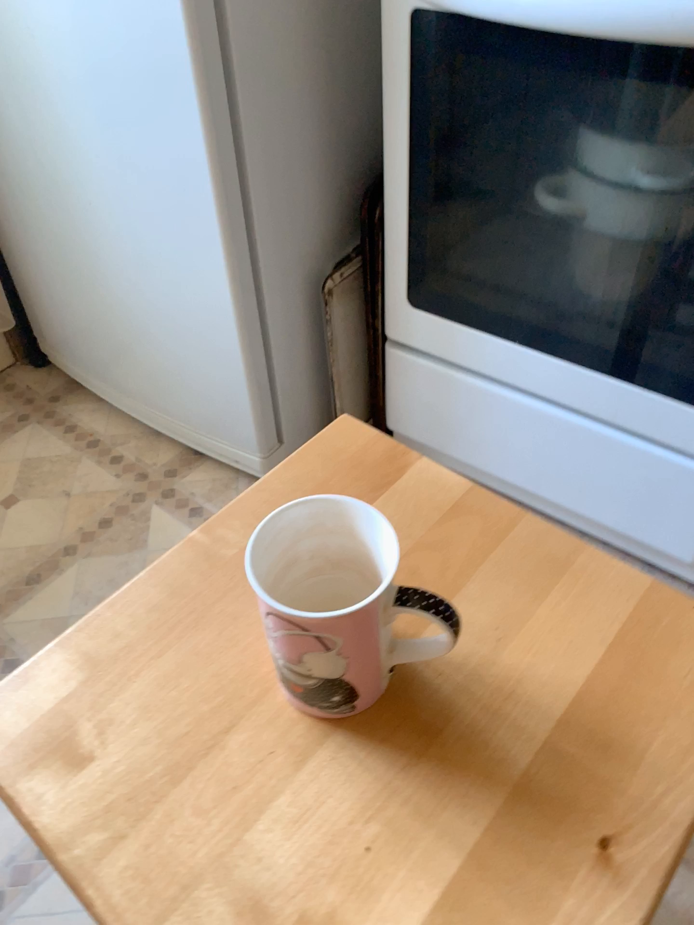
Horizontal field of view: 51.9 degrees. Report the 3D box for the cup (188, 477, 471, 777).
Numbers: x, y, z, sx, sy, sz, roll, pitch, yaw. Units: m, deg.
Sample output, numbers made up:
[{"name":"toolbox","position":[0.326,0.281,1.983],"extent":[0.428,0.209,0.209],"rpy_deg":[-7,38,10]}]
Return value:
[{"name":"cup","position":[-0.004,0.083,0.370],"extent":[0.110,0.099,0.081],"rpy_deg":[15,47,19]}]
